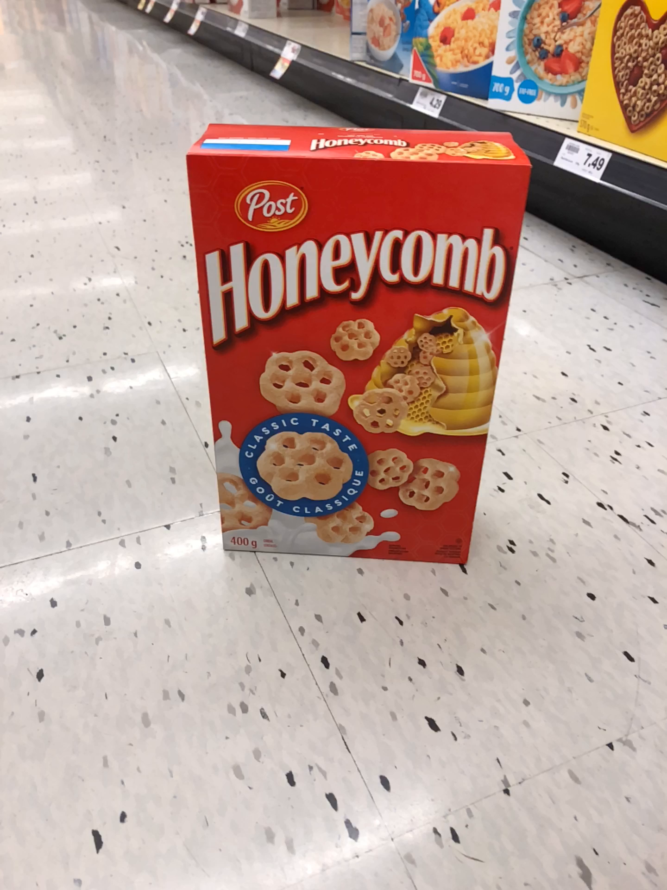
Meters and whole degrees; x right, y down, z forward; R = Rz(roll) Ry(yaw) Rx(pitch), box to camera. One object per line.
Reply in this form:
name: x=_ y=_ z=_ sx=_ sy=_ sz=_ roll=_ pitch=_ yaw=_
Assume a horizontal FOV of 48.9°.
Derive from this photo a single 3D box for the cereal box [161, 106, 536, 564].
cereal box: x=0.007 y=-0.061 z=0.508 sx=0.200 sy=0.298 sz=0.081 roll=3 pitch=35 yaw=3
